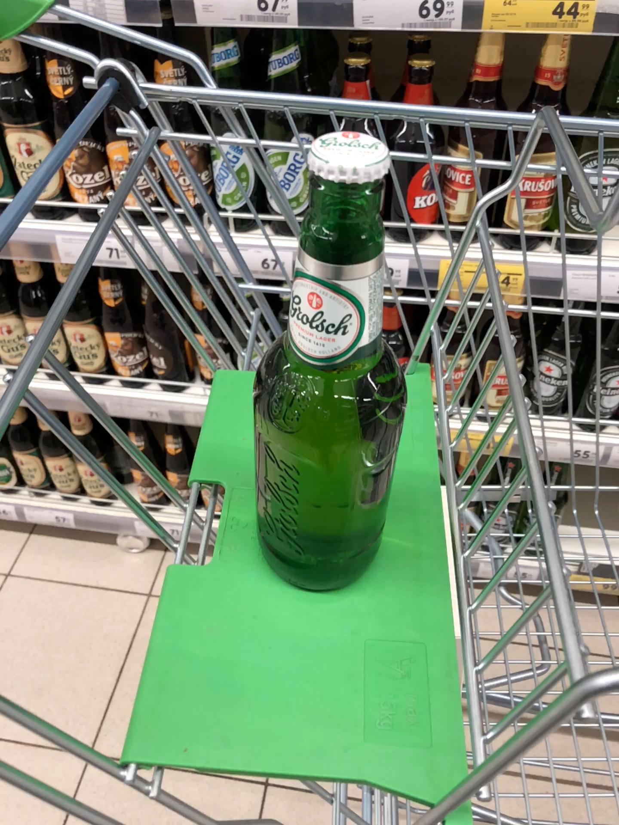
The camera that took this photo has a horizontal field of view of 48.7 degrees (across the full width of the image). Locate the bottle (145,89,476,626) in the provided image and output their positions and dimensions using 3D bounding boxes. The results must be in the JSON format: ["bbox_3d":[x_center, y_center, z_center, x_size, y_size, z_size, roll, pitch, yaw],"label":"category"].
[{"bbox_3d":[0.005,-0.010,0.305,0.080,0.219,0.080,-1,44,1],"label":"bottle"}]
